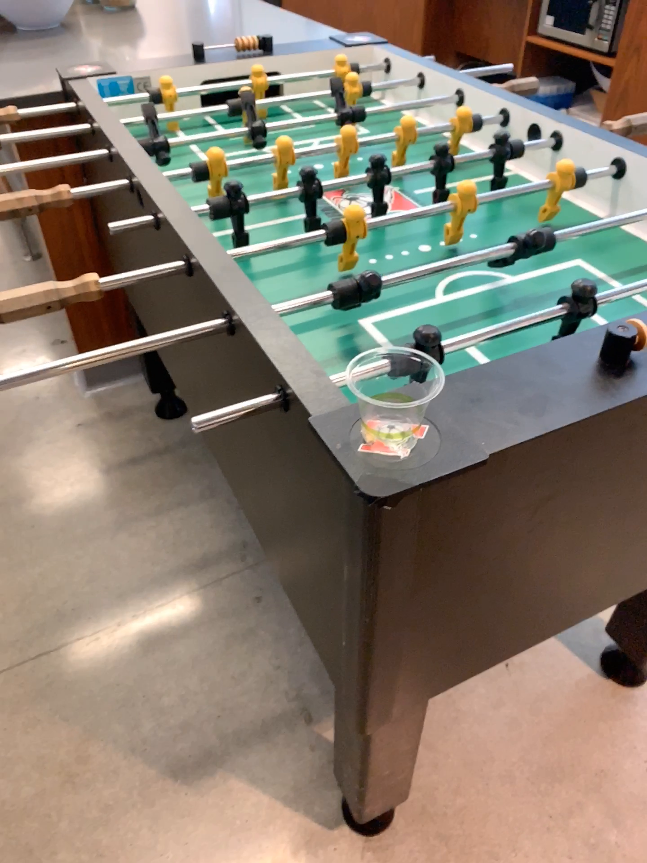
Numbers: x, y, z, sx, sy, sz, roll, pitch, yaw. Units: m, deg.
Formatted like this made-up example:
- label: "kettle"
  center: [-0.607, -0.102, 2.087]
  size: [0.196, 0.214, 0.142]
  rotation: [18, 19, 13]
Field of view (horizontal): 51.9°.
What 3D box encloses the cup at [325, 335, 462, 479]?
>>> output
- label: "cup"
  center: [0.051, -0.021, 0.503]
  size: [0.070, 0.060, 0.070]
  rotation: [0, 42, 0]
